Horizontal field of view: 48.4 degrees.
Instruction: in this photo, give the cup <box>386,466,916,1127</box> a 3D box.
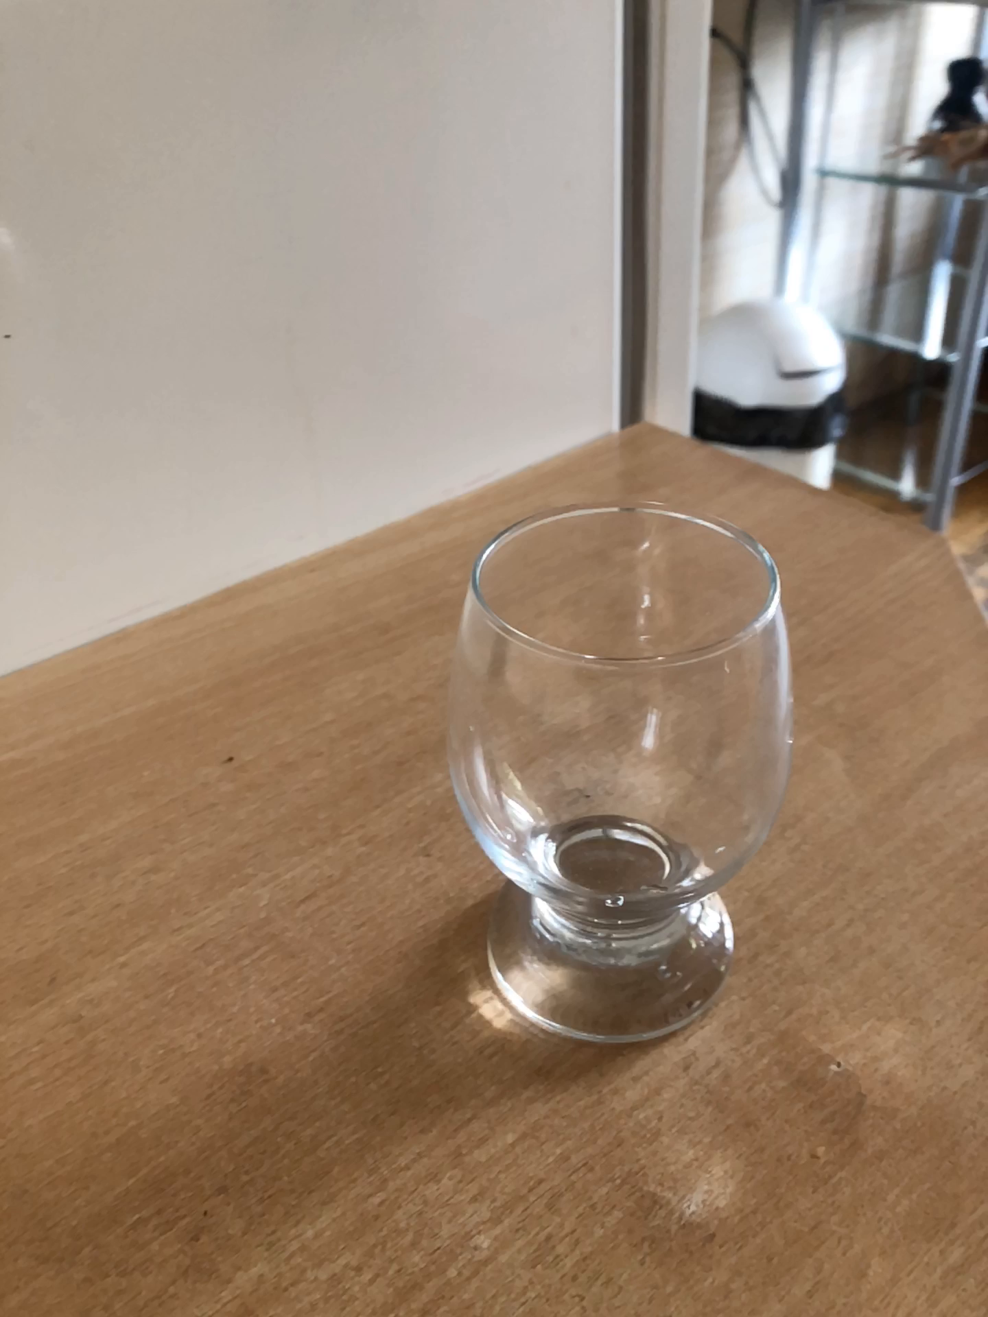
[{"bbox_3d":[0.033,0.027,0.252,0.074,0.105,0.077,-2,34,2],"label":"cup"}]
